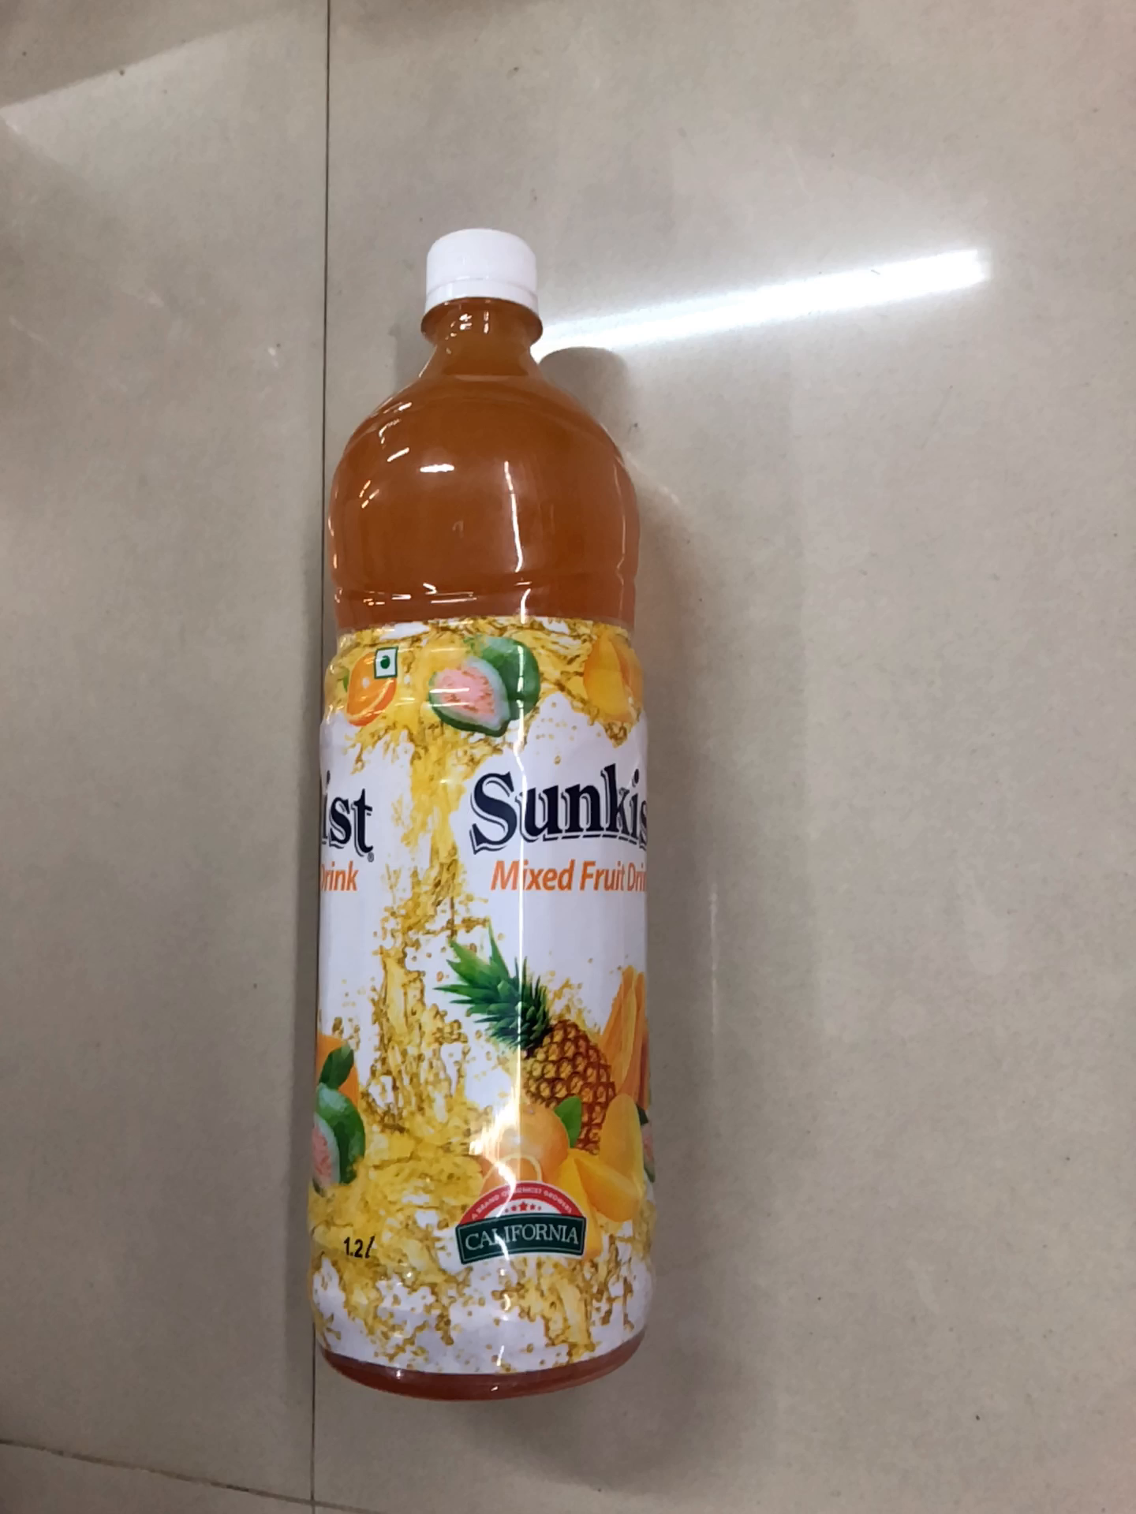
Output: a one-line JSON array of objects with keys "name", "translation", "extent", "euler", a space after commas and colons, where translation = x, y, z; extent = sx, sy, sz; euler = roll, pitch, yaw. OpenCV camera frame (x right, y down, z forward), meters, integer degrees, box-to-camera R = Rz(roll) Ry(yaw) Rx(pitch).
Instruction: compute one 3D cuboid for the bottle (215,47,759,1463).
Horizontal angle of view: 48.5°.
[{"name": "bottle", "translation": [-0.013, -0.004, 0.312], "extent": [0.100, 0.080, 0.290], "euler": [-1, 84, 21]}]
